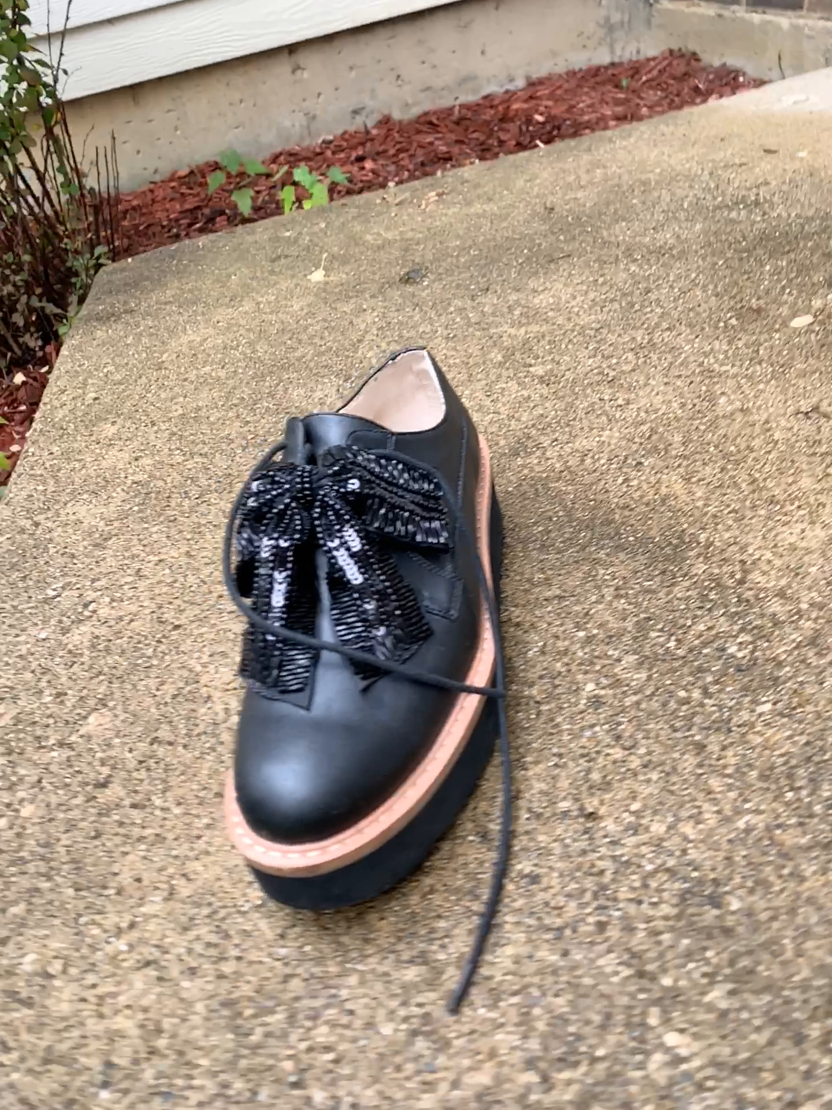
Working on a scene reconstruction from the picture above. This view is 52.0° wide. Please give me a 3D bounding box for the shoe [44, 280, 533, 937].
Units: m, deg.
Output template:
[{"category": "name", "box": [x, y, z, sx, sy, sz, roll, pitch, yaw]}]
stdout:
[{"category": "shoe", "box": [-0.018, 0.000, 0.355, 0.106, 0.120, 0.259, -3, 38, 14]}]
